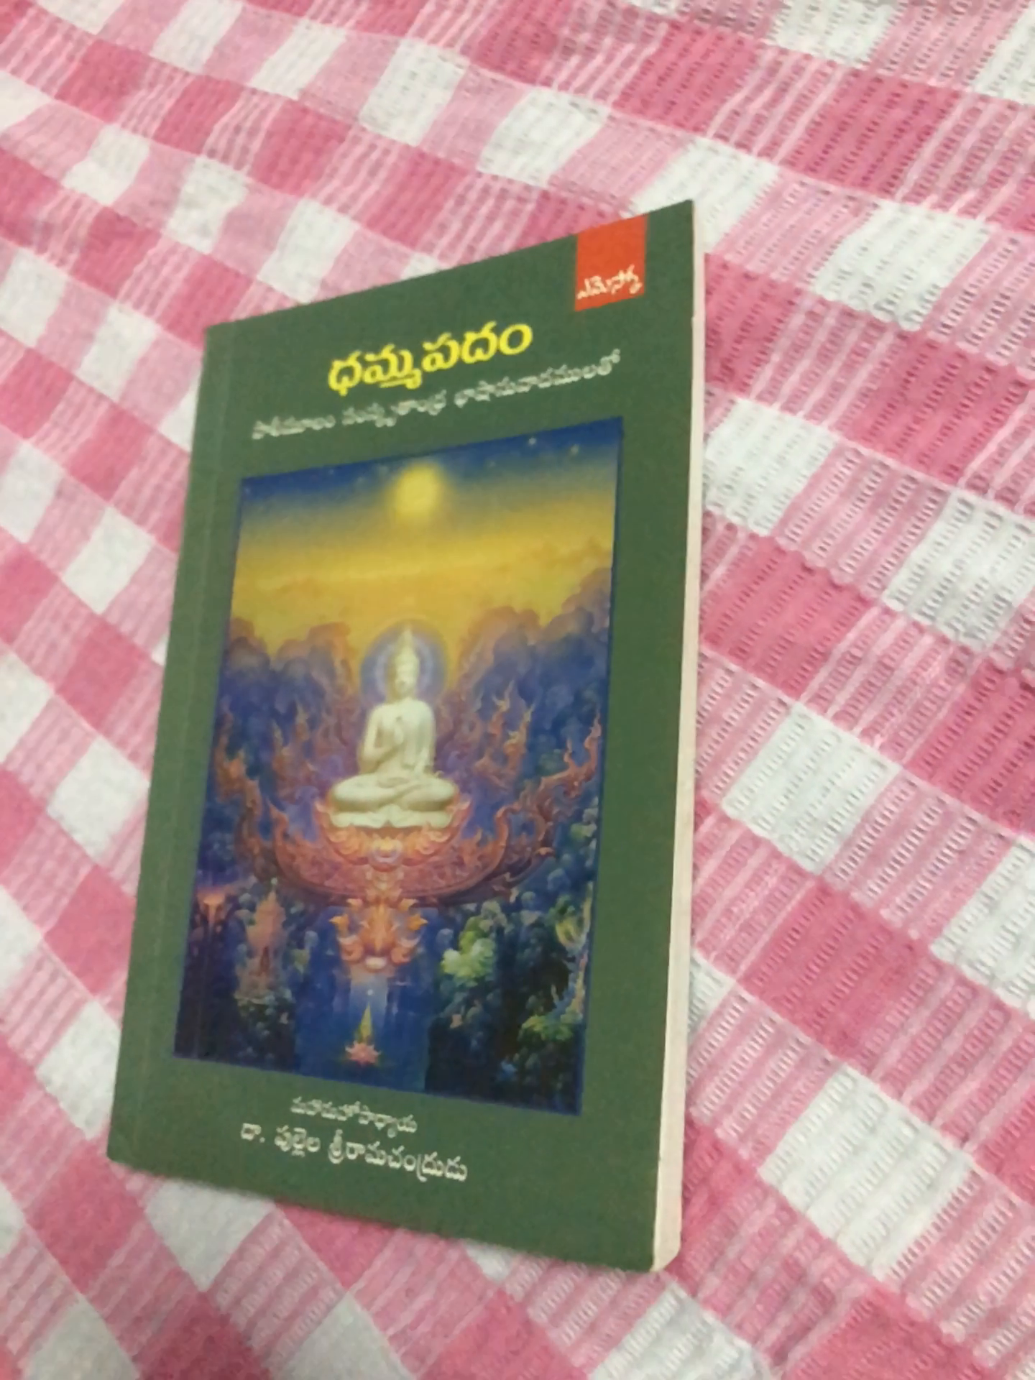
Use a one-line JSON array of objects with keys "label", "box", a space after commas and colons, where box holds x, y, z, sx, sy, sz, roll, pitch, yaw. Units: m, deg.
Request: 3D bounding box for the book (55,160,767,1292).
[{"label": "book", "box": [-0.022, 0.000, 0.239, 0.140, 0.020, 0.200, -3, 75, 26]}]
